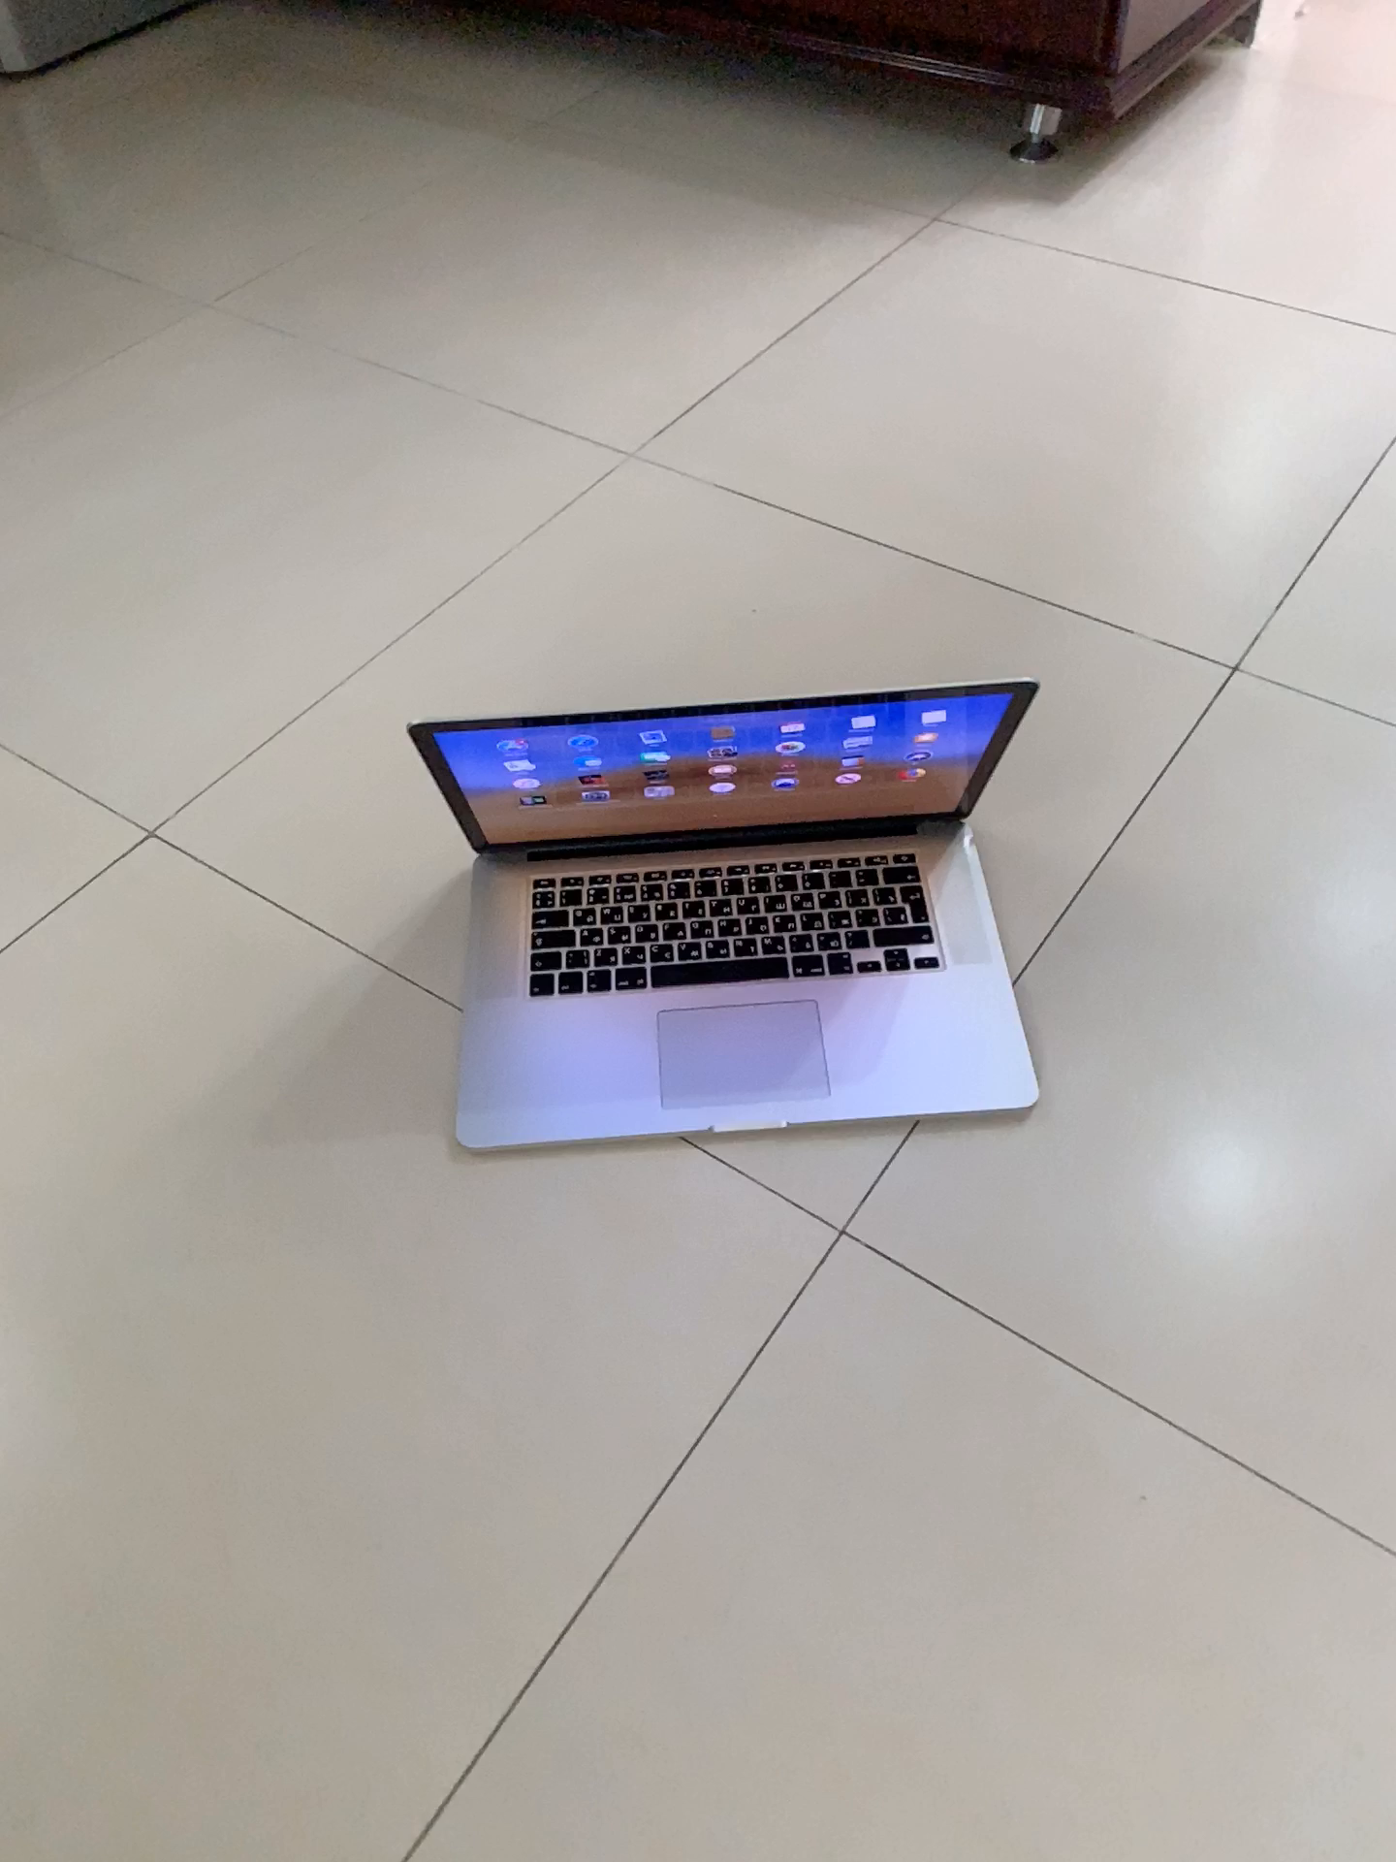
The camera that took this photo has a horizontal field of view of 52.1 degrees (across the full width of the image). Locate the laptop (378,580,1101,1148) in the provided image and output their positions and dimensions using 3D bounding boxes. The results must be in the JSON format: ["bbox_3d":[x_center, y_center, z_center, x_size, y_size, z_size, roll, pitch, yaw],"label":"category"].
[{"bbox_3d":[0.019,-0.041,0.864,0.359,0.207,0.242,-4,49,-1],"label":"laptop"}]
